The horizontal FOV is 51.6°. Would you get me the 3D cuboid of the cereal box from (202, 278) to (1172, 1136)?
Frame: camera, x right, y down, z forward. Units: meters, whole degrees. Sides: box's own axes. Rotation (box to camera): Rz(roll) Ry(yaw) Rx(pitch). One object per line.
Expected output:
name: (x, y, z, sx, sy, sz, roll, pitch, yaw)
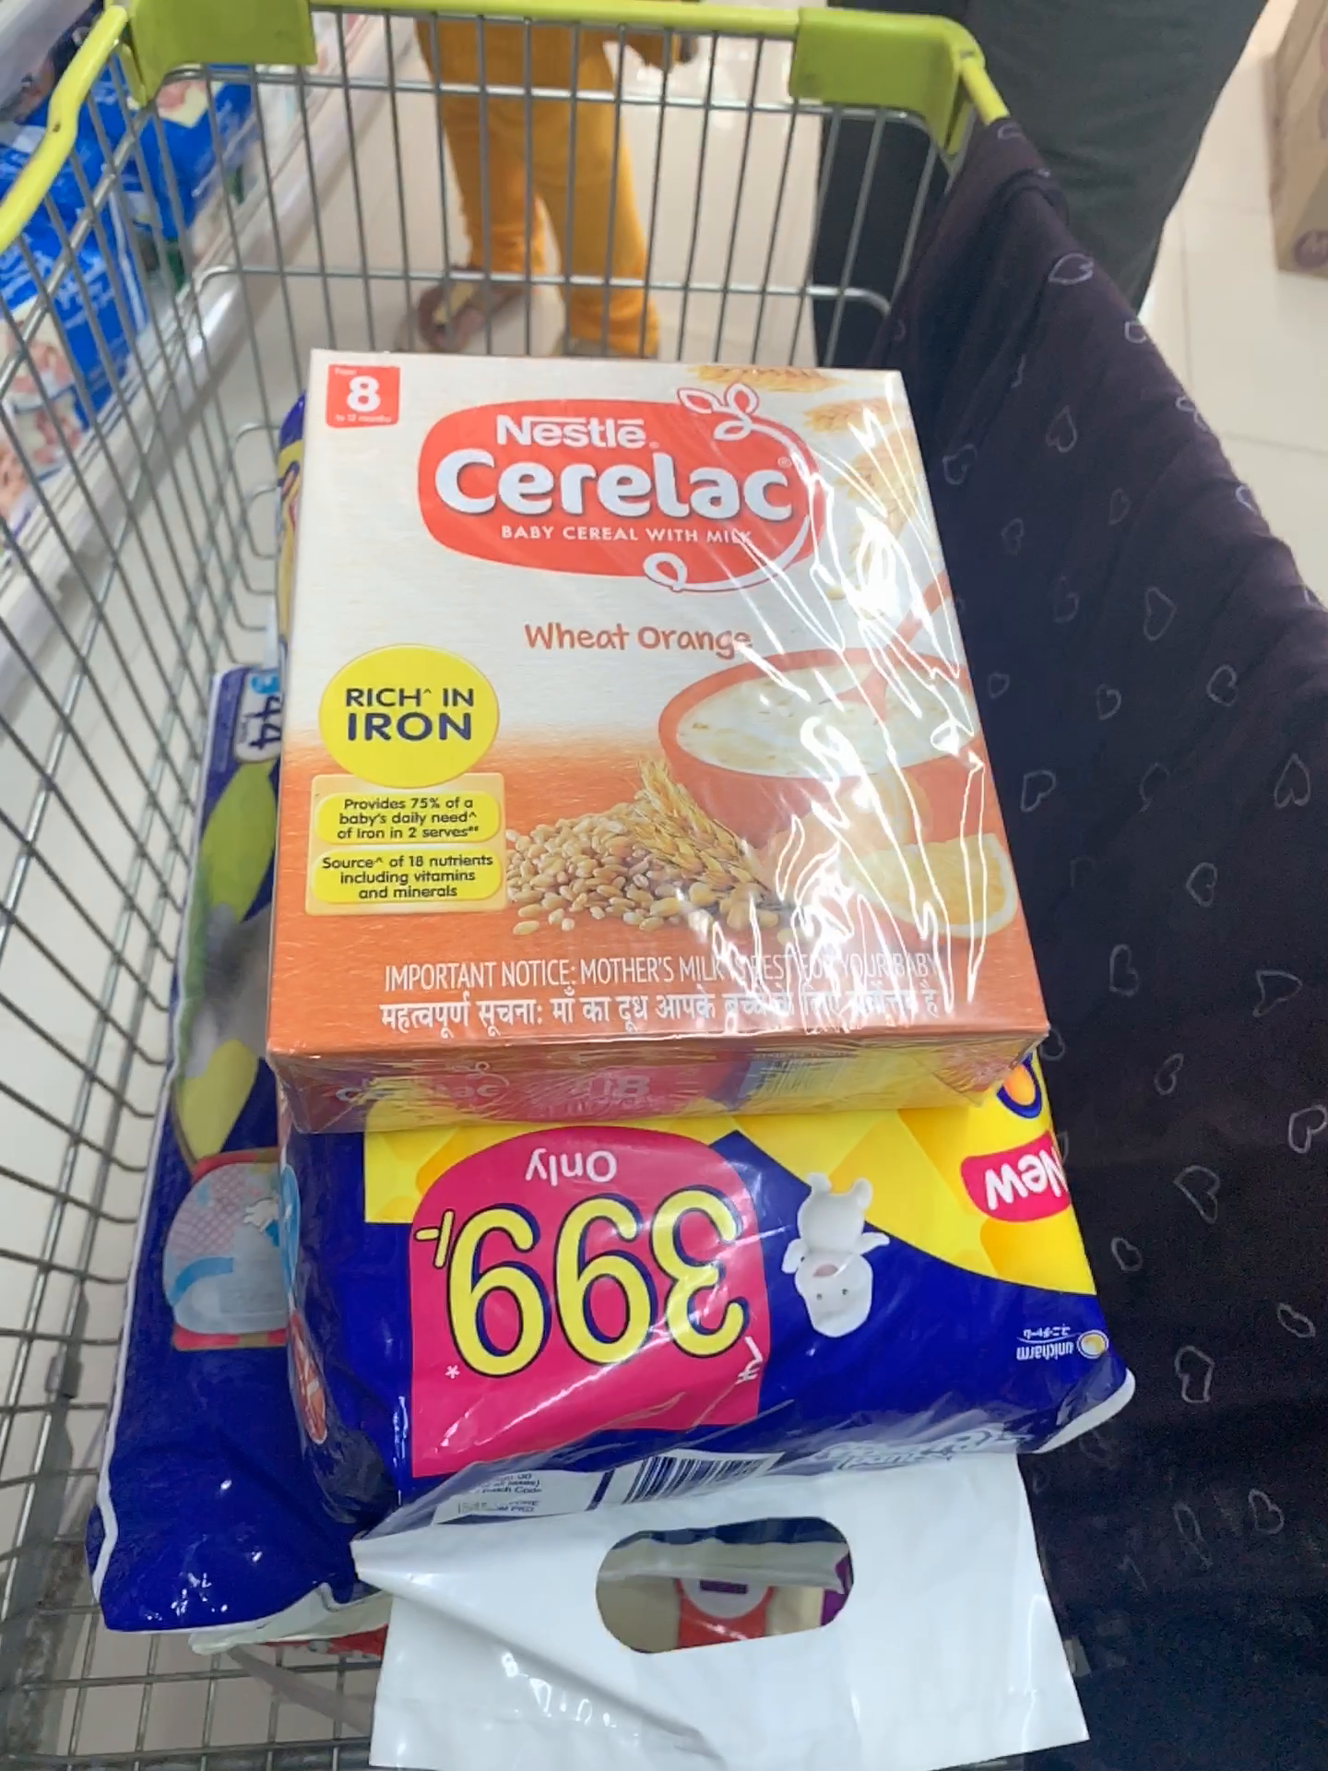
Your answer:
cereal box: (-0.002, -0.048, 0.305, 0.170, 0.050, 0.190, -1, 62, -6)
